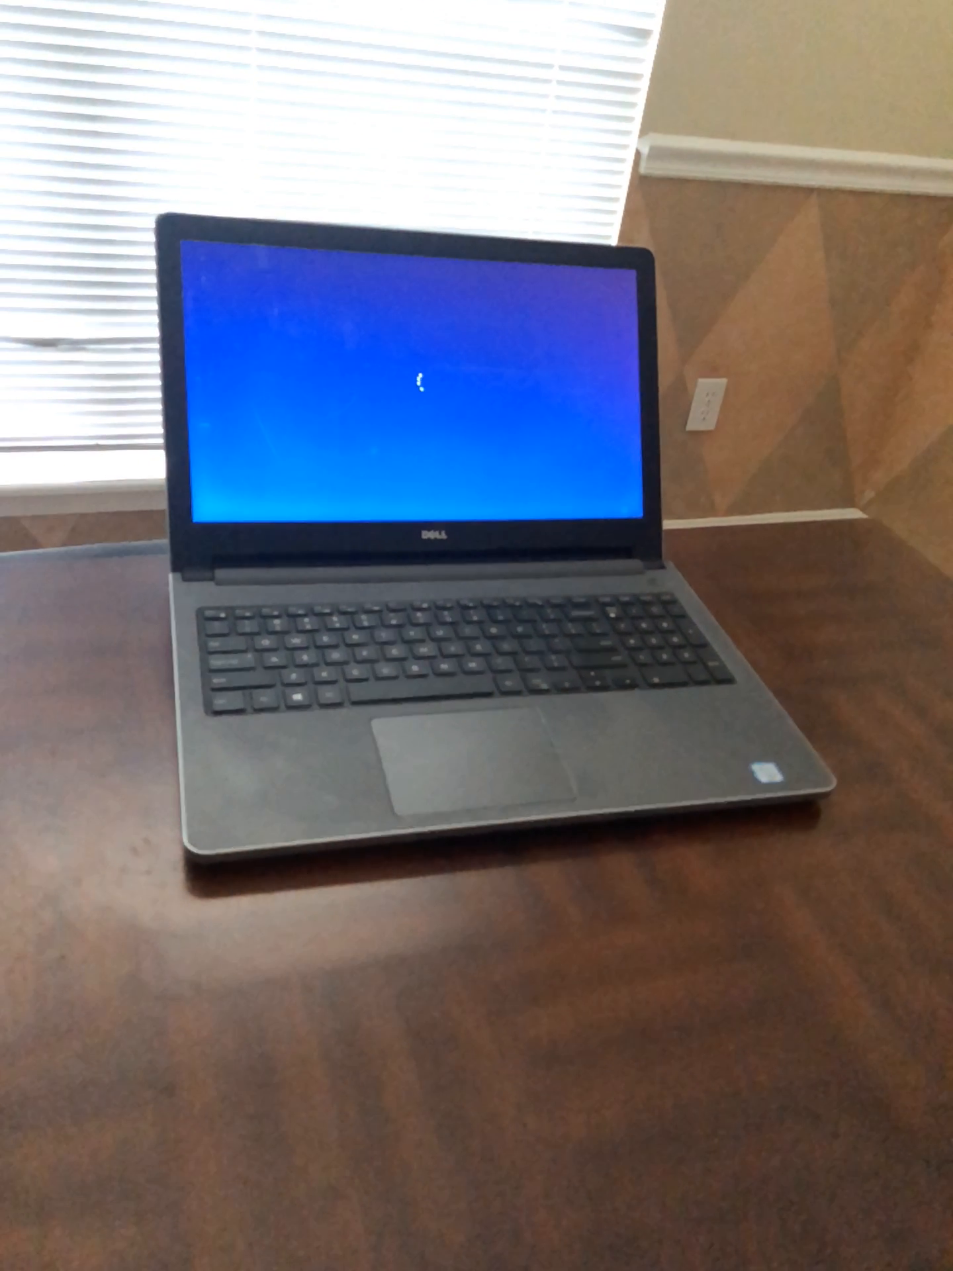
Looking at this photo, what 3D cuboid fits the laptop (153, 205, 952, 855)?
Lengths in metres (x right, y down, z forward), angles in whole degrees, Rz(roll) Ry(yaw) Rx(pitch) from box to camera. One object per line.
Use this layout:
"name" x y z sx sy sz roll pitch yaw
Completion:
"laptop" -0.001 -0.097 0.649 0.367 0.198 0.394 -2 36 -17
